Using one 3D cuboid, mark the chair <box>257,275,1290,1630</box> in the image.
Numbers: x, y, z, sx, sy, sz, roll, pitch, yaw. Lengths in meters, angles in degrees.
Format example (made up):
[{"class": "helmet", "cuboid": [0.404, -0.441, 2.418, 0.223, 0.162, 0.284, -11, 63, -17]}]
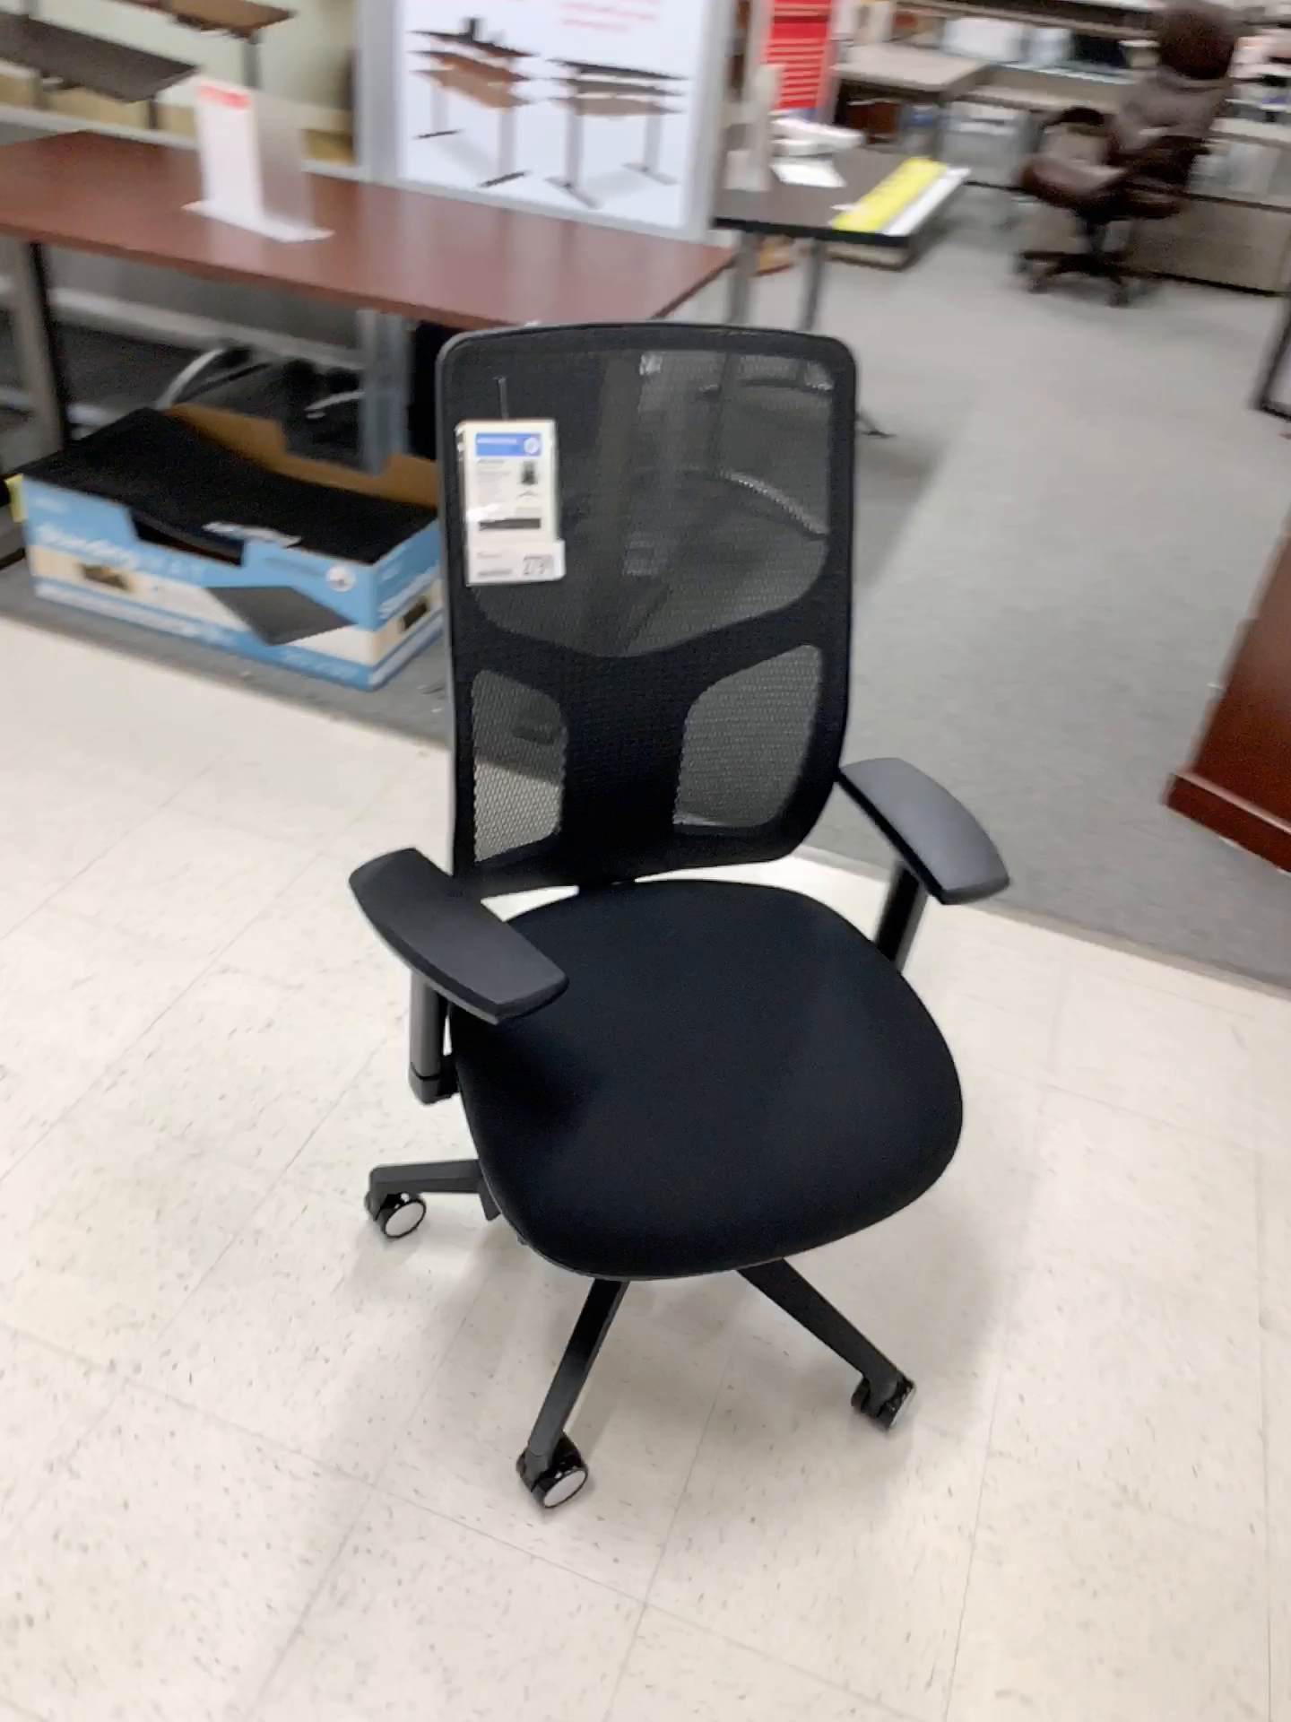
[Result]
[{"class": "chair", "cuboid": [0.064, 0.048, 1.309, 0.700, 0.994, 0.734, -9, 39, -20]}]
